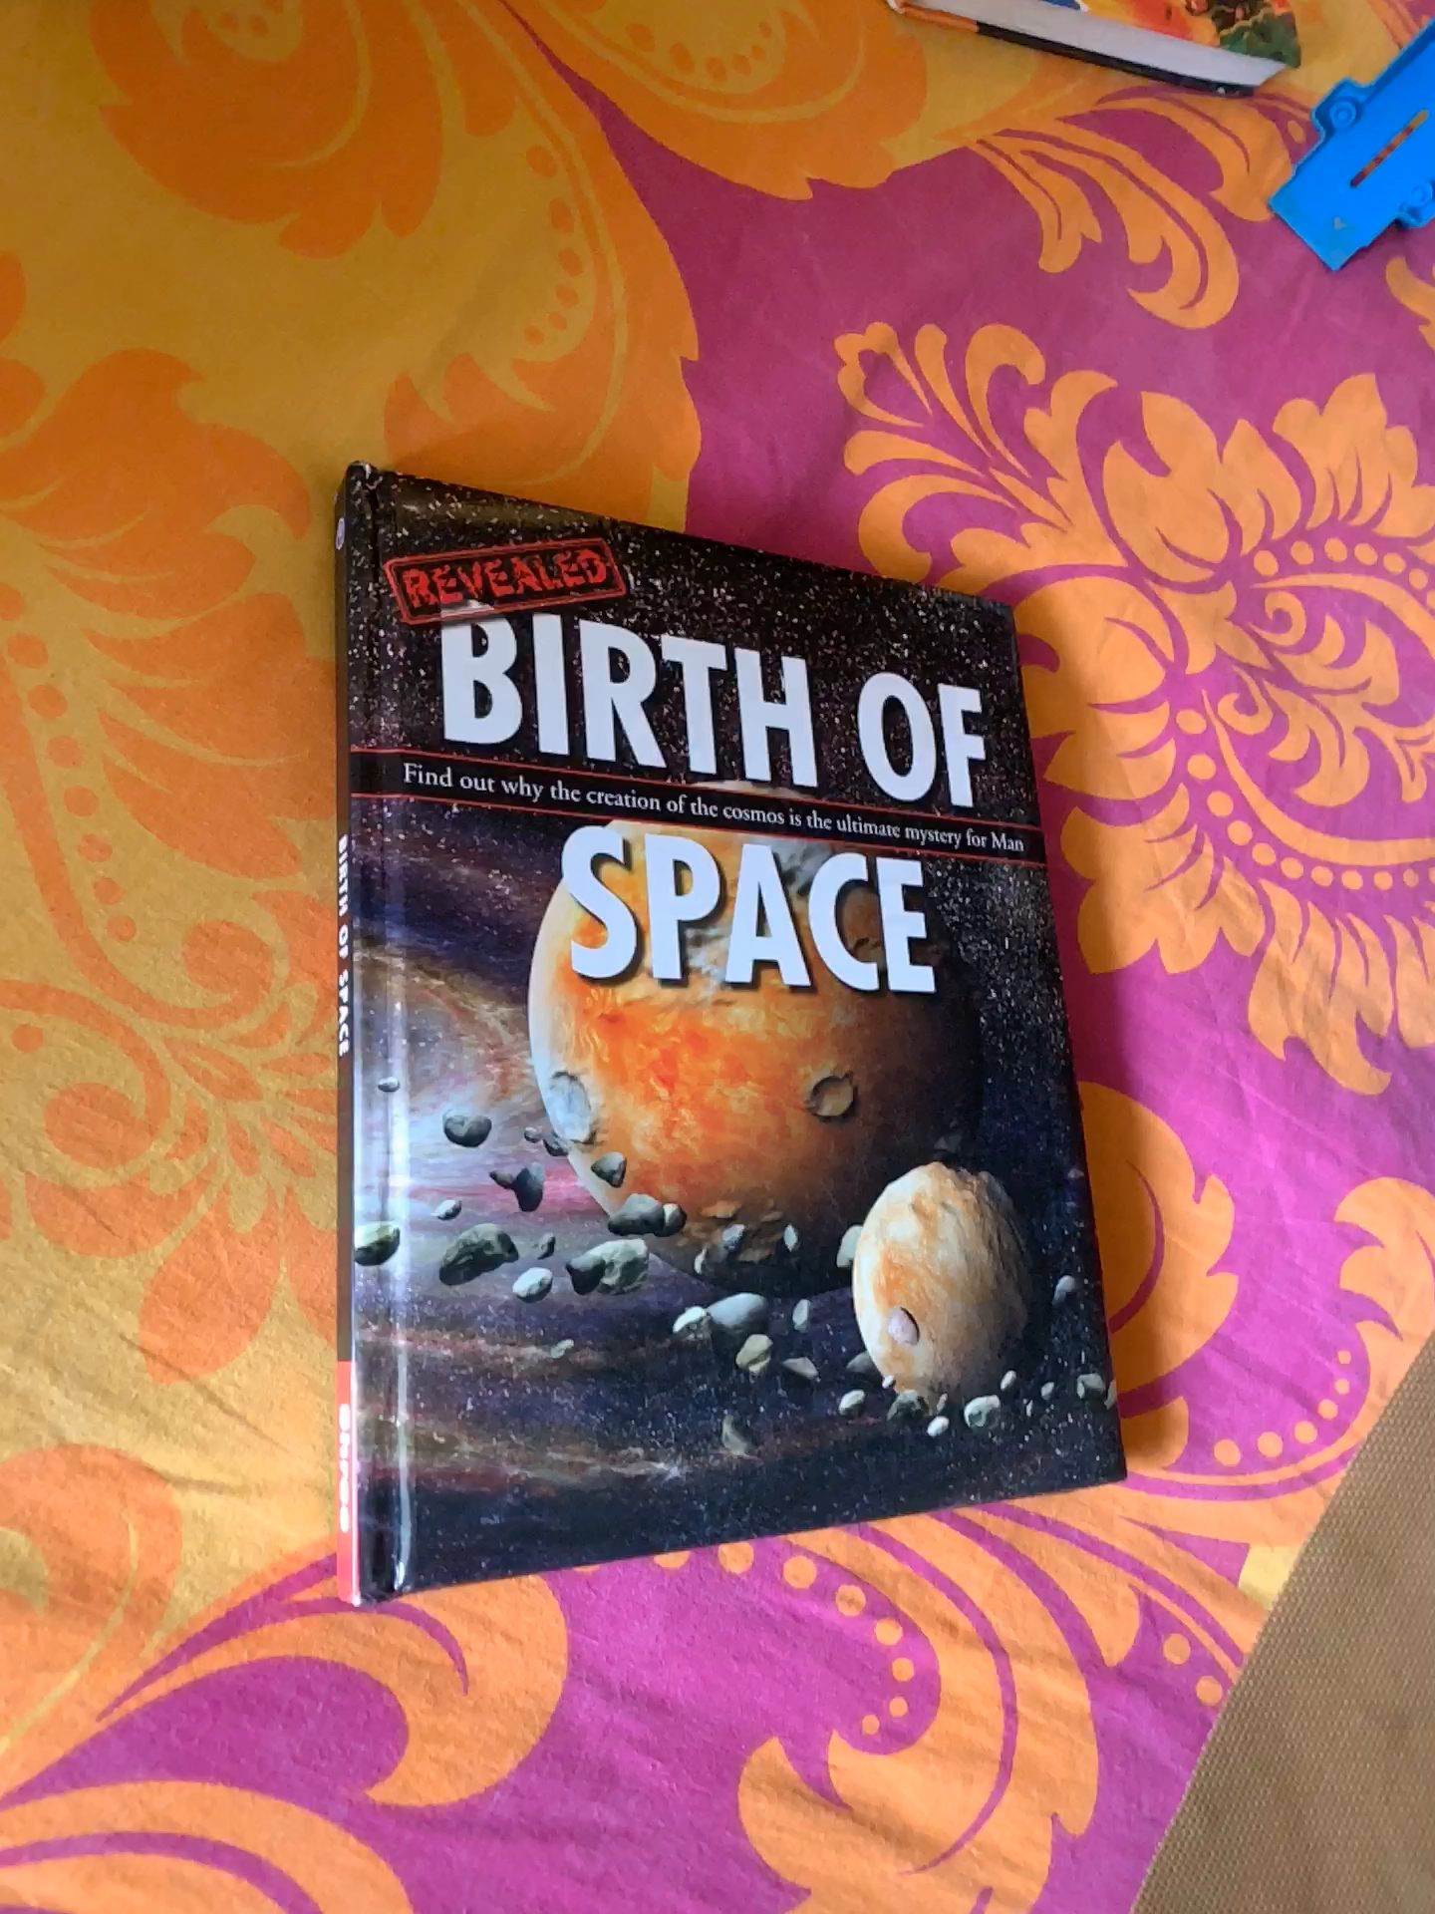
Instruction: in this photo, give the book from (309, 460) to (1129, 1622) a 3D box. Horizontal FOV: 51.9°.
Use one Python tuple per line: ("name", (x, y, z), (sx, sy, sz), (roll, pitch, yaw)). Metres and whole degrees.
("book", (0.004, 0.014, 0.381), (0.211, 0.020, 0.258), (4, 75, -28))
